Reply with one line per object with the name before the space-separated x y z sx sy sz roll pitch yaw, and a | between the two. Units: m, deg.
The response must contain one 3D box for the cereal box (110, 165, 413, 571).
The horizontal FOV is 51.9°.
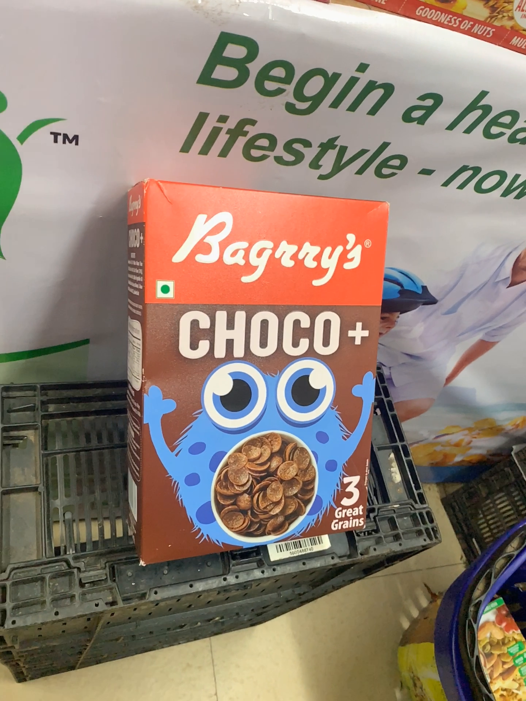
cereal box | -0.006 0.009 0.386 0.190 0.080 0.240 -1 99 -22
